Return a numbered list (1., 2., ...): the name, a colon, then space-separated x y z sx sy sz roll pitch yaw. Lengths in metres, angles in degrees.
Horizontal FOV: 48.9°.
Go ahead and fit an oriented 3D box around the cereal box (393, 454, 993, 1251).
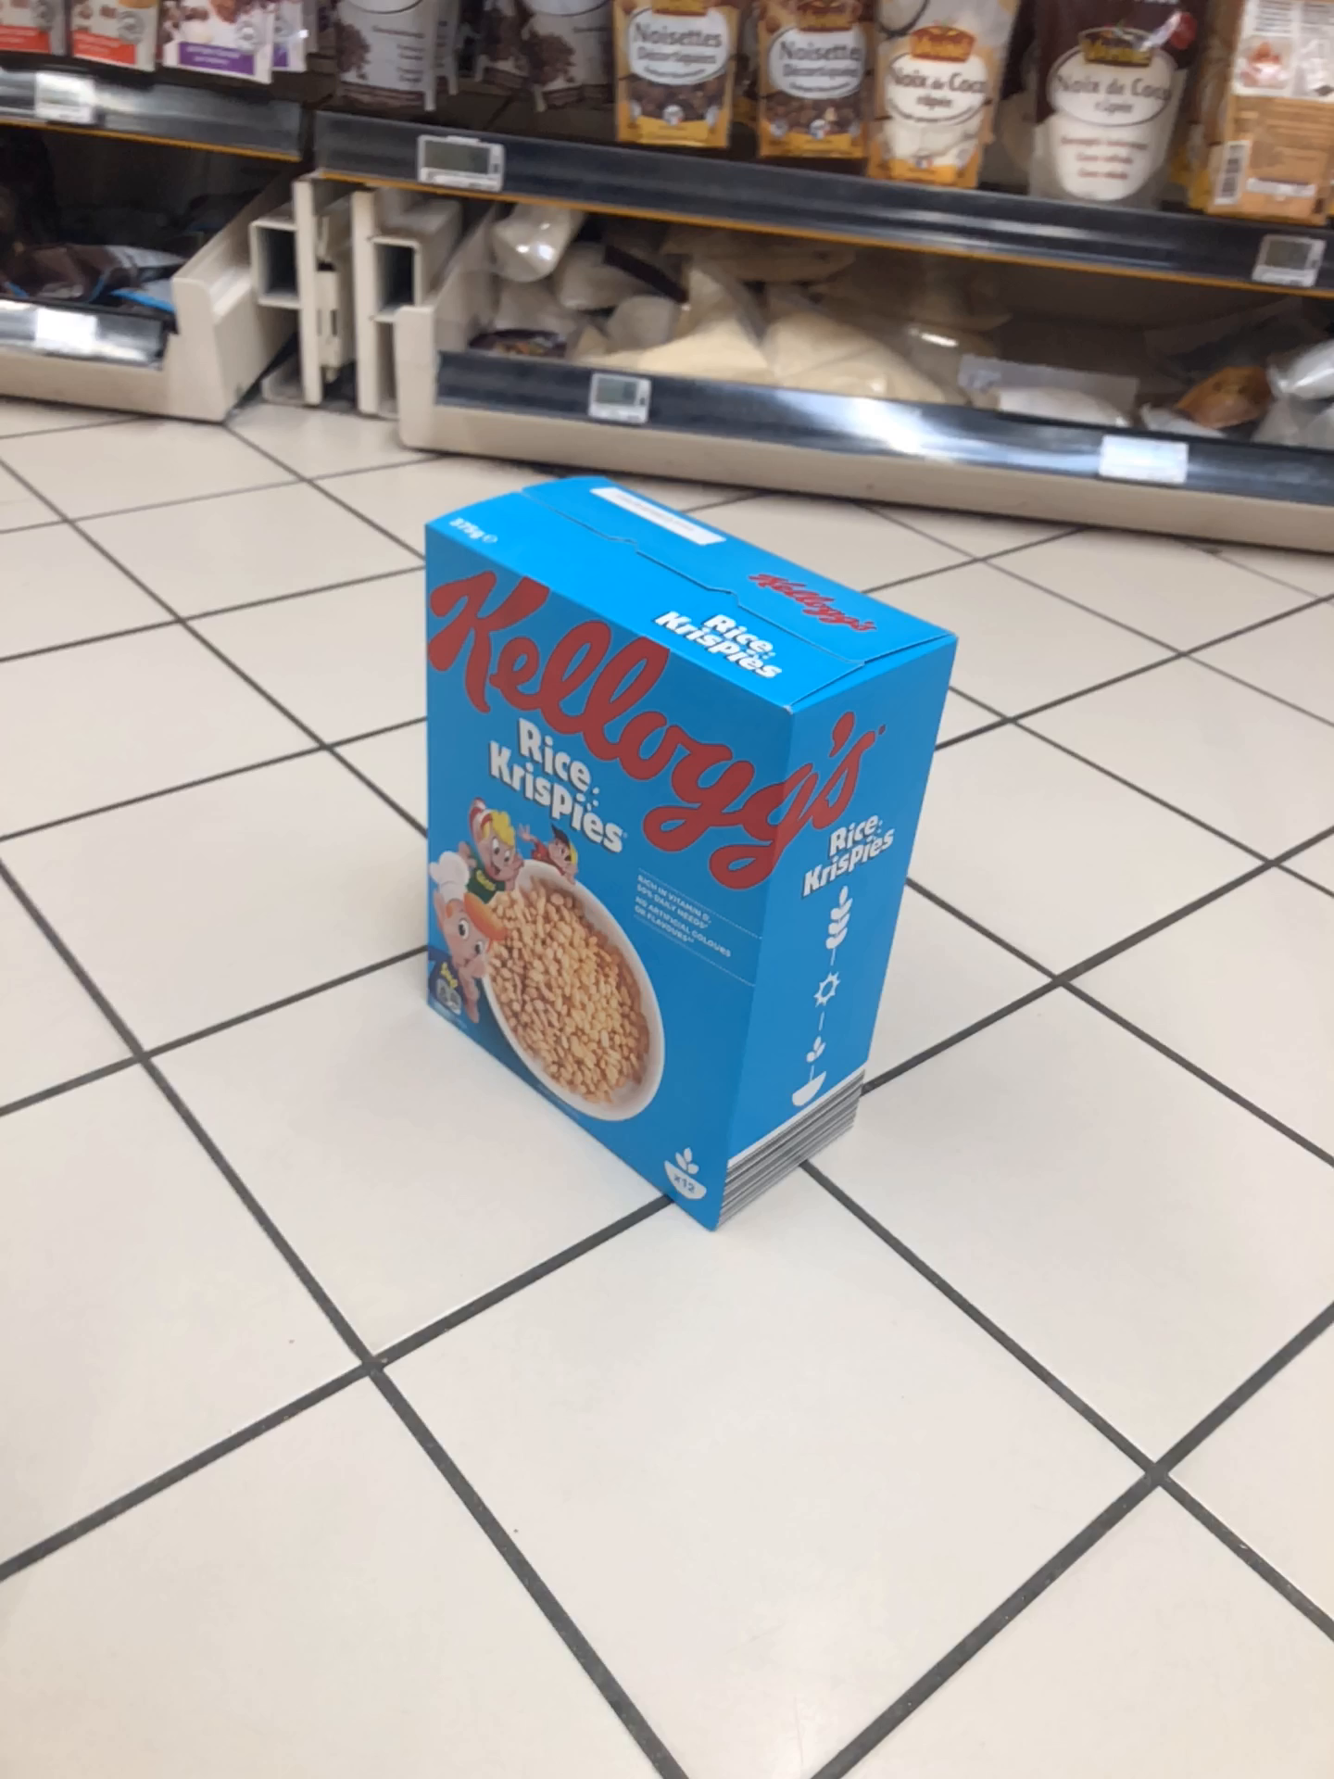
1. cereal box: -0.005 -0.021 0.600 0.111 0.238 0.200 -25 45 -37
